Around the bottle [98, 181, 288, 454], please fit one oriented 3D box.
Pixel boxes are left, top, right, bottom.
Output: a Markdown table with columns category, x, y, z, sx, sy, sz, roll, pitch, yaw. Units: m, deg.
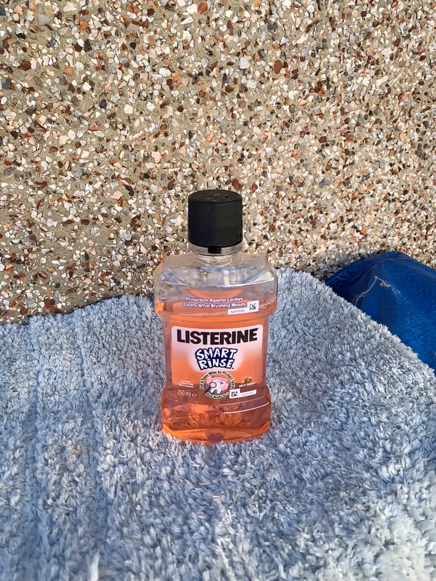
| category | x | y | z | sx | sy | sz | roll | pitch | yaw |
| --- | --- | --- | --- | --- | --- | --- | --- | --- | --- |
| bottle | -0.010 | 0.021 | 0.272 | 0.090 | 0.158 | 0.050 | -2 | 29 | -1 |
